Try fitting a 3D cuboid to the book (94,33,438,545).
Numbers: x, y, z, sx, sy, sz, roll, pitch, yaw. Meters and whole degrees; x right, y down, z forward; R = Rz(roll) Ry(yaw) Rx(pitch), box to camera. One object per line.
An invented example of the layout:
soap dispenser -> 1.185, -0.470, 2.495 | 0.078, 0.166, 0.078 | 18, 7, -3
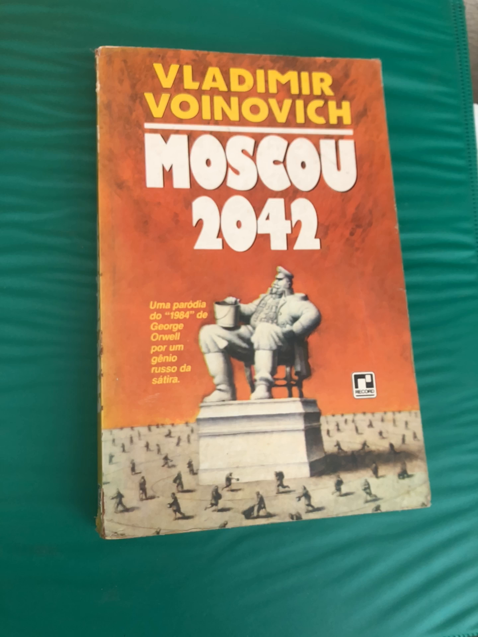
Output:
book -> 0.008, -0.019, 0.231 | 0.132, 0.020, 0.203 | -2, 81, -11
